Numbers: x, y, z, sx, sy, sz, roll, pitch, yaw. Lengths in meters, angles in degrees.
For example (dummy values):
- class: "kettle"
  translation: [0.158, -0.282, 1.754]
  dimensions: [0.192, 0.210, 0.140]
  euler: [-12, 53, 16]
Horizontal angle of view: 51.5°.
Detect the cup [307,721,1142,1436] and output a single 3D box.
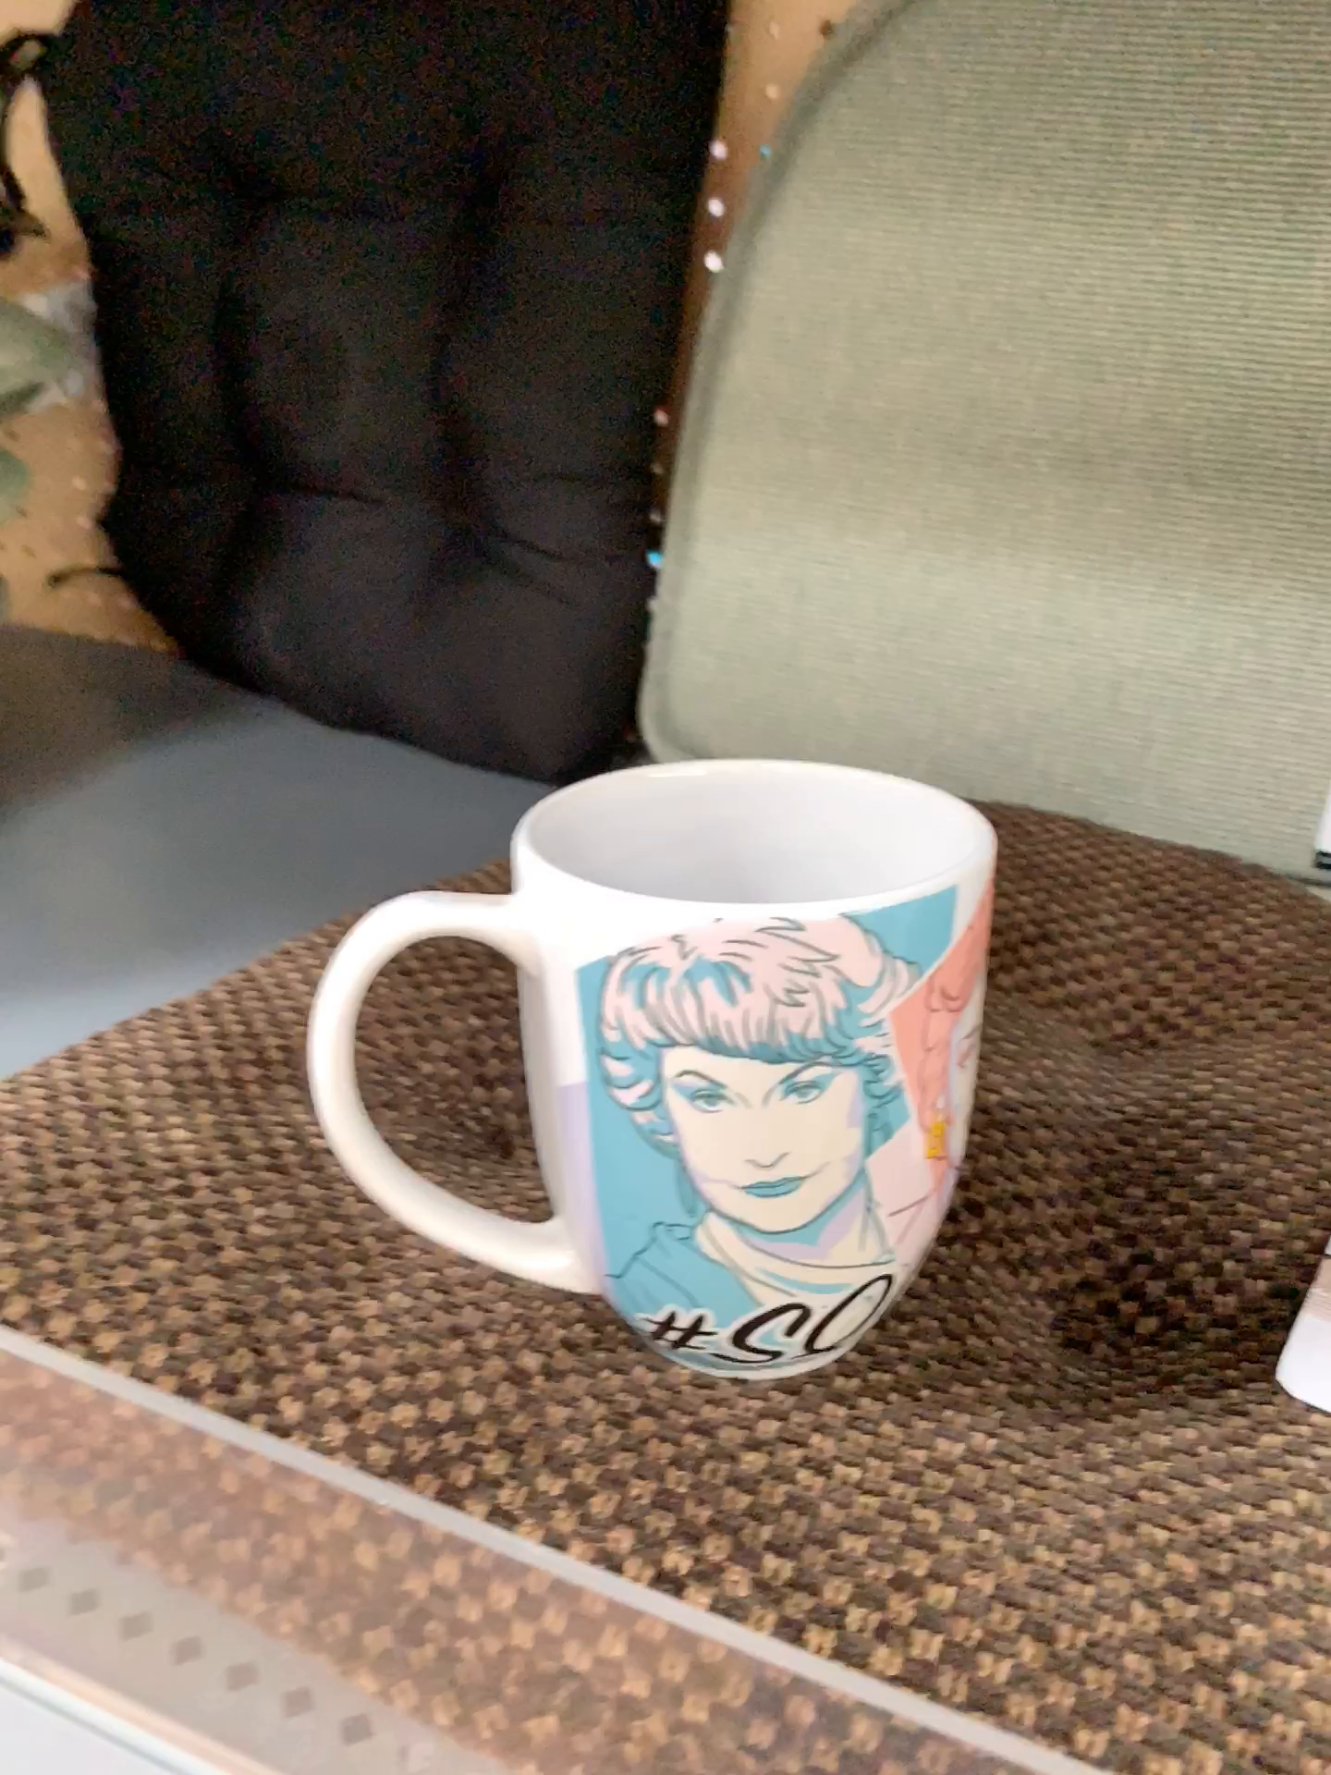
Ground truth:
- class: "cup"
  translation: [0.004, 0.029, 0.268]
  dimensions: [0.128, 0.100, 0.090]
  euler: [-1, 23, -8]
